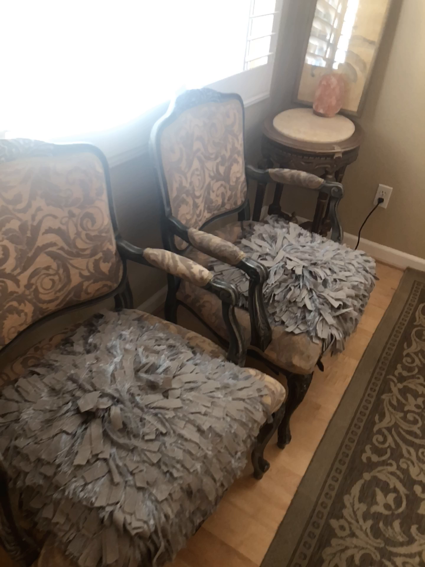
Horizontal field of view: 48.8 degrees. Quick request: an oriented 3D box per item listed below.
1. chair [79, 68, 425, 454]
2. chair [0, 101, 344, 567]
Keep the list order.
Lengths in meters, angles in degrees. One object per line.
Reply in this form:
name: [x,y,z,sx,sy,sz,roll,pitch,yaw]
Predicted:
chair: [0.144,-0.142,1.589,0.780,0.852,0.746,23,40,22]
chair: [-0.248,0.220,1.037,0.601,0.951,0.695,28,42,28]
